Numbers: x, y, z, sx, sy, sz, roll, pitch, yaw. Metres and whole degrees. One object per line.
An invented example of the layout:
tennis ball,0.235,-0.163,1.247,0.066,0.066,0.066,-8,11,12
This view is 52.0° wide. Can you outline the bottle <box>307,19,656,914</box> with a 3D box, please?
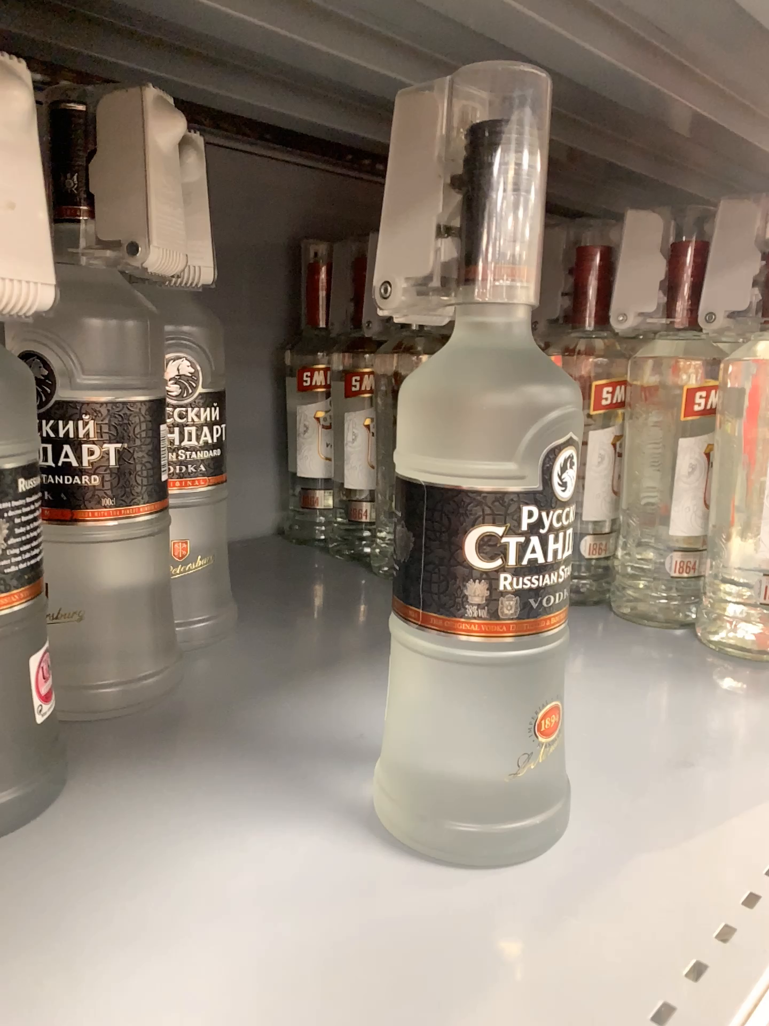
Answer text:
bottle,0.033,-0.013,0.316,0.092,0.289,0.088,1,10,0
